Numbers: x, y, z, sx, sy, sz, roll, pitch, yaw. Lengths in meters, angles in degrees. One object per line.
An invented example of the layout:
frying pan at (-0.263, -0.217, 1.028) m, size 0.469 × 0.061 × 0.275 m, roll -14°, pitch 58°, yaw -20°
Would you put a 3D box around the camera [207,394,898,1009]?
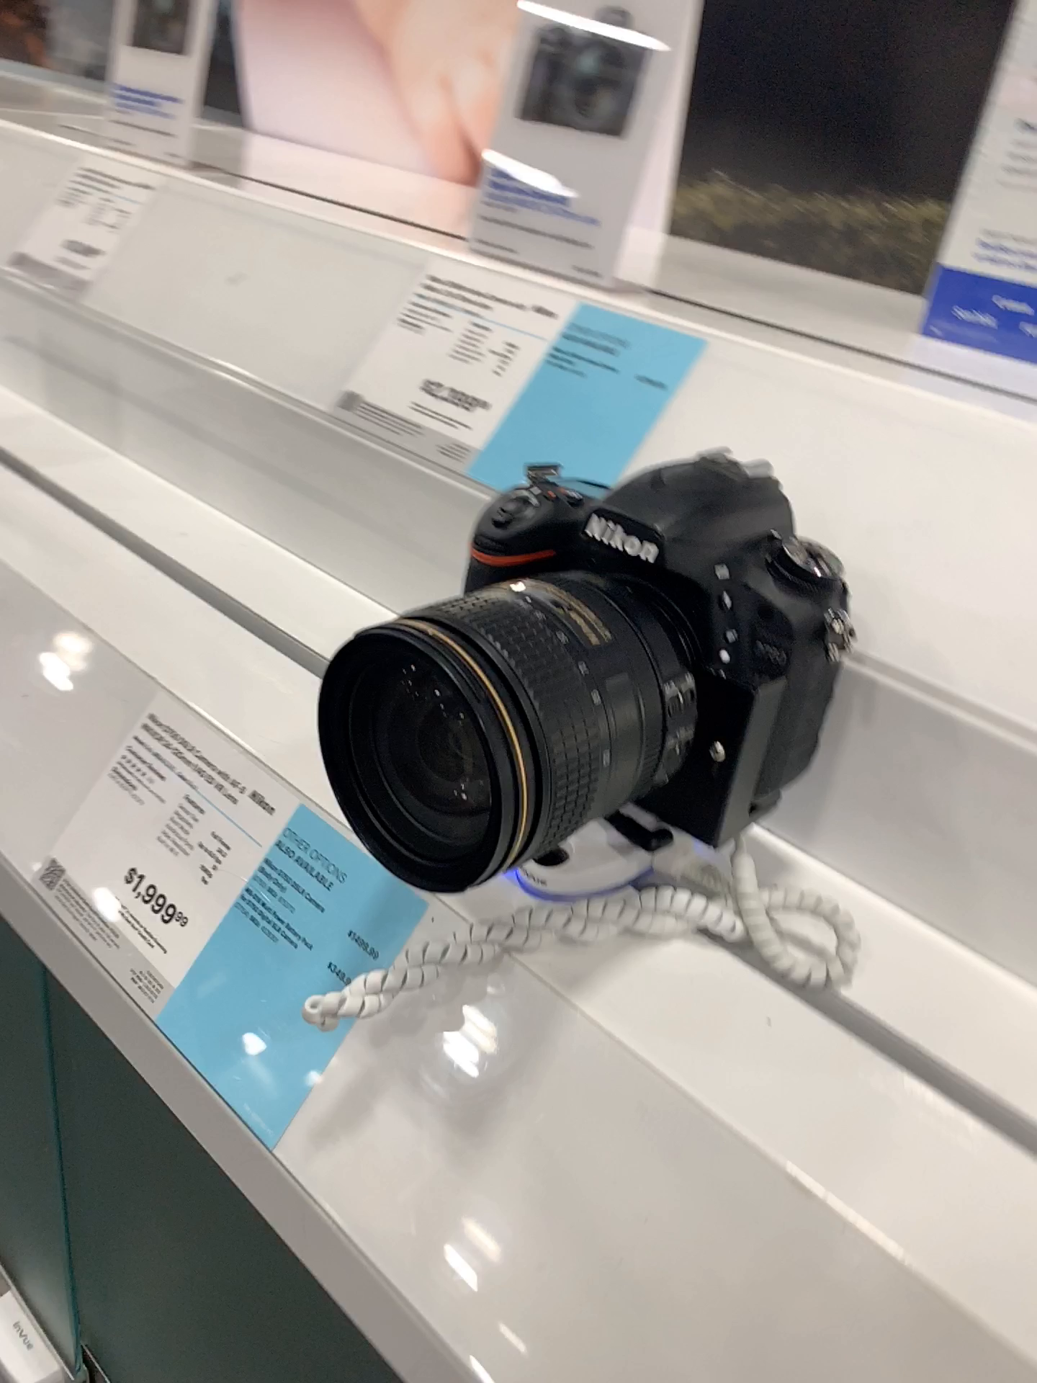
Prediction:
camera at (0.013, -0.018, 0.363) m, size 0.140 × 0.111 × 0.181 m, roll 27°, pitch 34°, yaw 30°
